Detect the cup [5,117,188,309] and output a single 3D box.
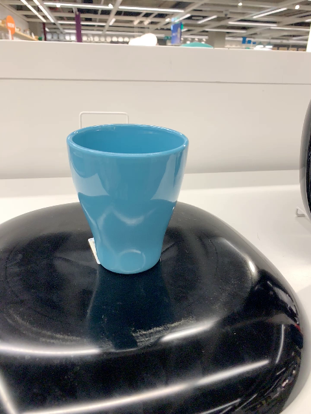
[{"bbox_3d":[-0.029,-0.010,0.261,0.100,0.100,0.141,4,24,6],"label":"cup"}]
